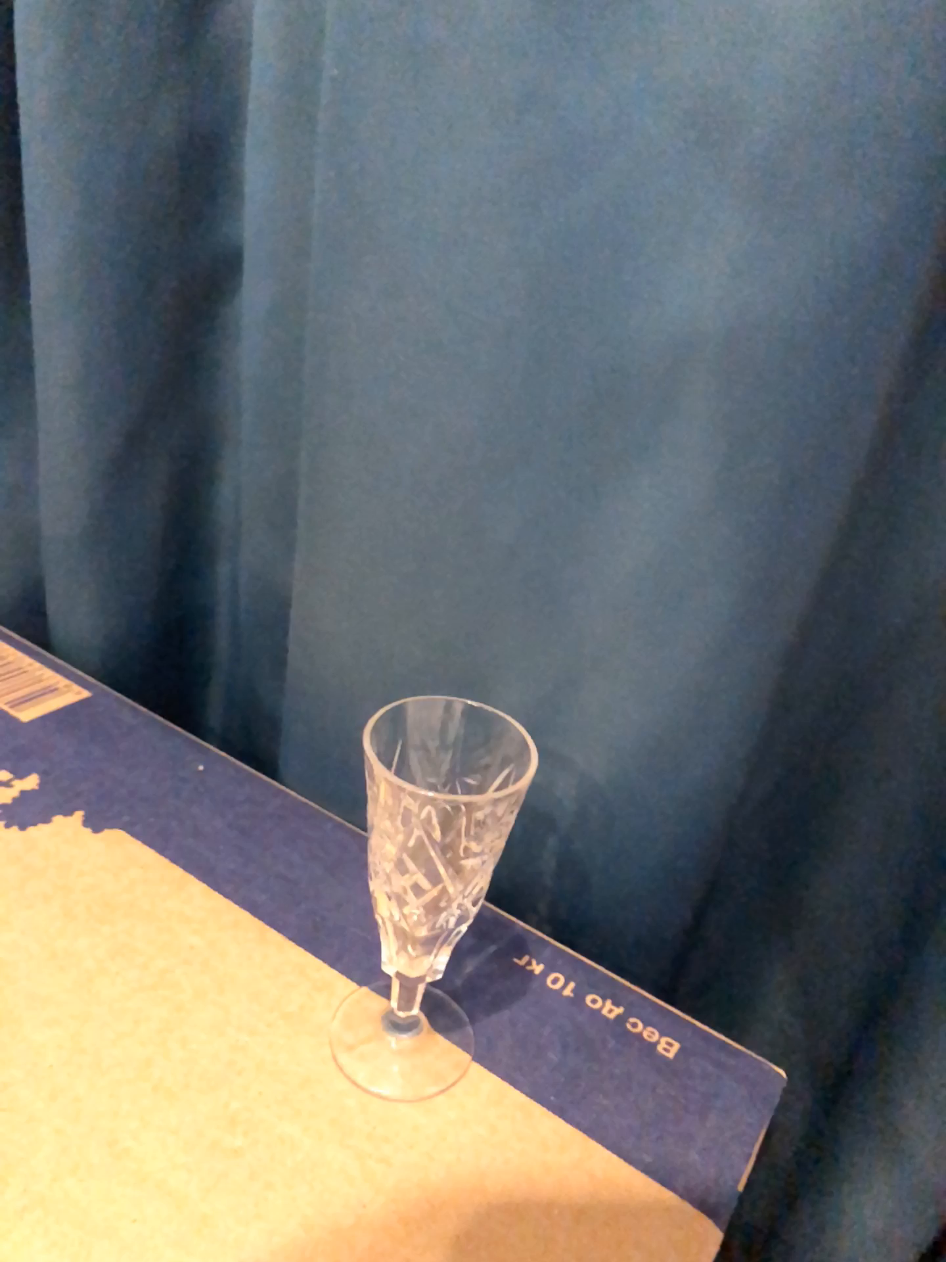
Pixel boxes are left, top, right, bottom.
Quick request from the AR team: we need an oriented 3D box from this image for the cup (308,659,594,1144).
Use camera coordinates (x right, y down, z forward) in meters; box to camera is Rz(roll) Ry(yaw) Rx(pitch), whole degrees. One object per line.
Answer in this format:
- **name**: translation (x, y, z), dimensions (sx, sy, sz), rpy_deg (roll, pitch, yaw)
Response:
- **cup**: translation (-0.011, 0.077, 0.300), dimensions (0.051, 0.118, 0.054), rpy_deg (5, 29, -3)
